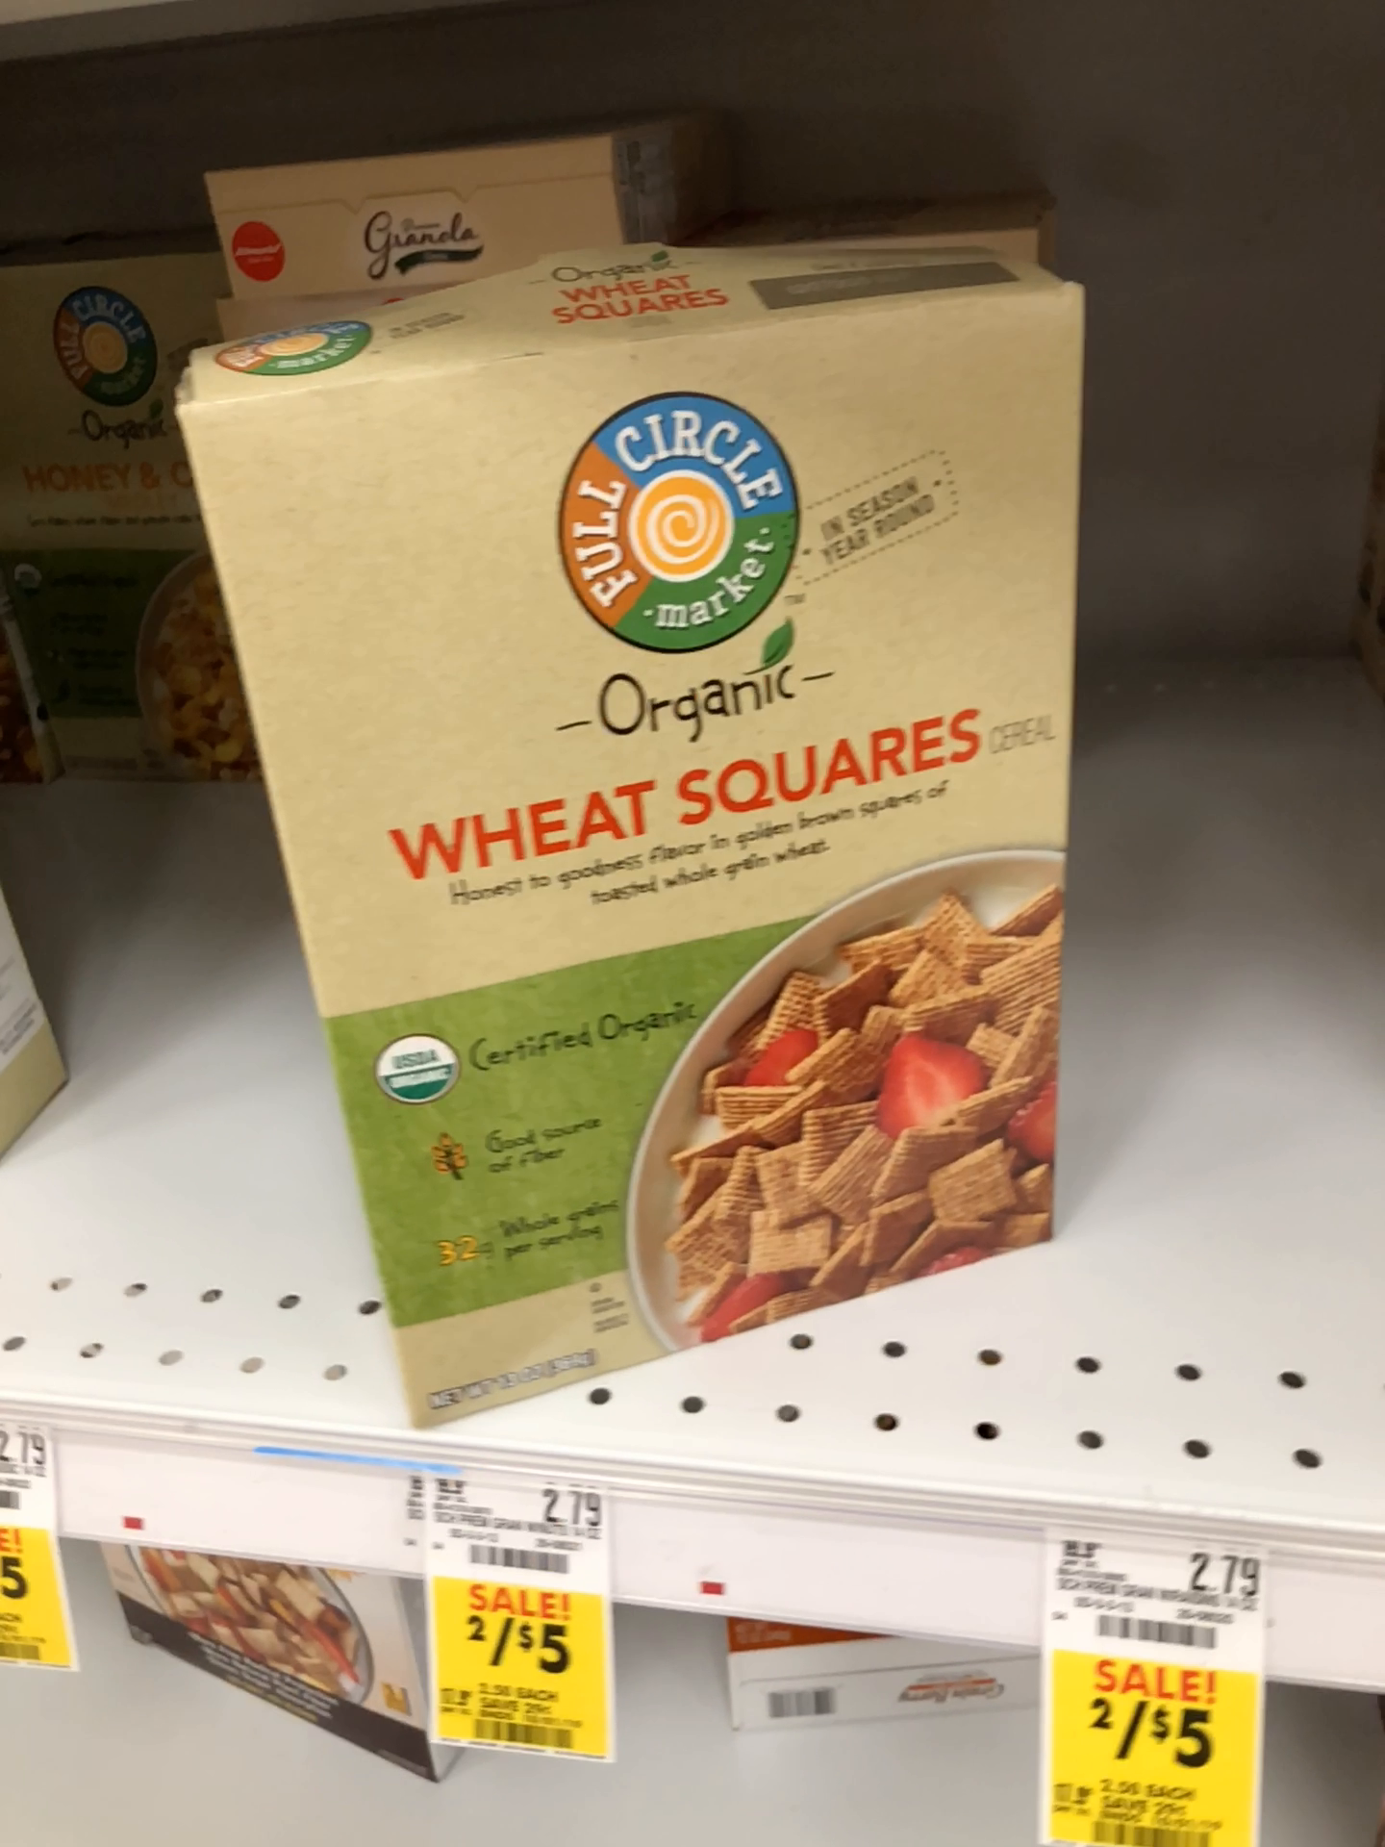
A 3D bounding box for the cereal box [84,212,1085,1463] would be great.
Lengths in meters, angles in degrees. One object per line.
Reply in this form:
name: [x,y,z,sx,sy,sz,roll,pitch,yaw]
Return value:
cereal box: [-0.008,-0.011,0.386,0.200,0.279,0.050,-13,30,-12]
